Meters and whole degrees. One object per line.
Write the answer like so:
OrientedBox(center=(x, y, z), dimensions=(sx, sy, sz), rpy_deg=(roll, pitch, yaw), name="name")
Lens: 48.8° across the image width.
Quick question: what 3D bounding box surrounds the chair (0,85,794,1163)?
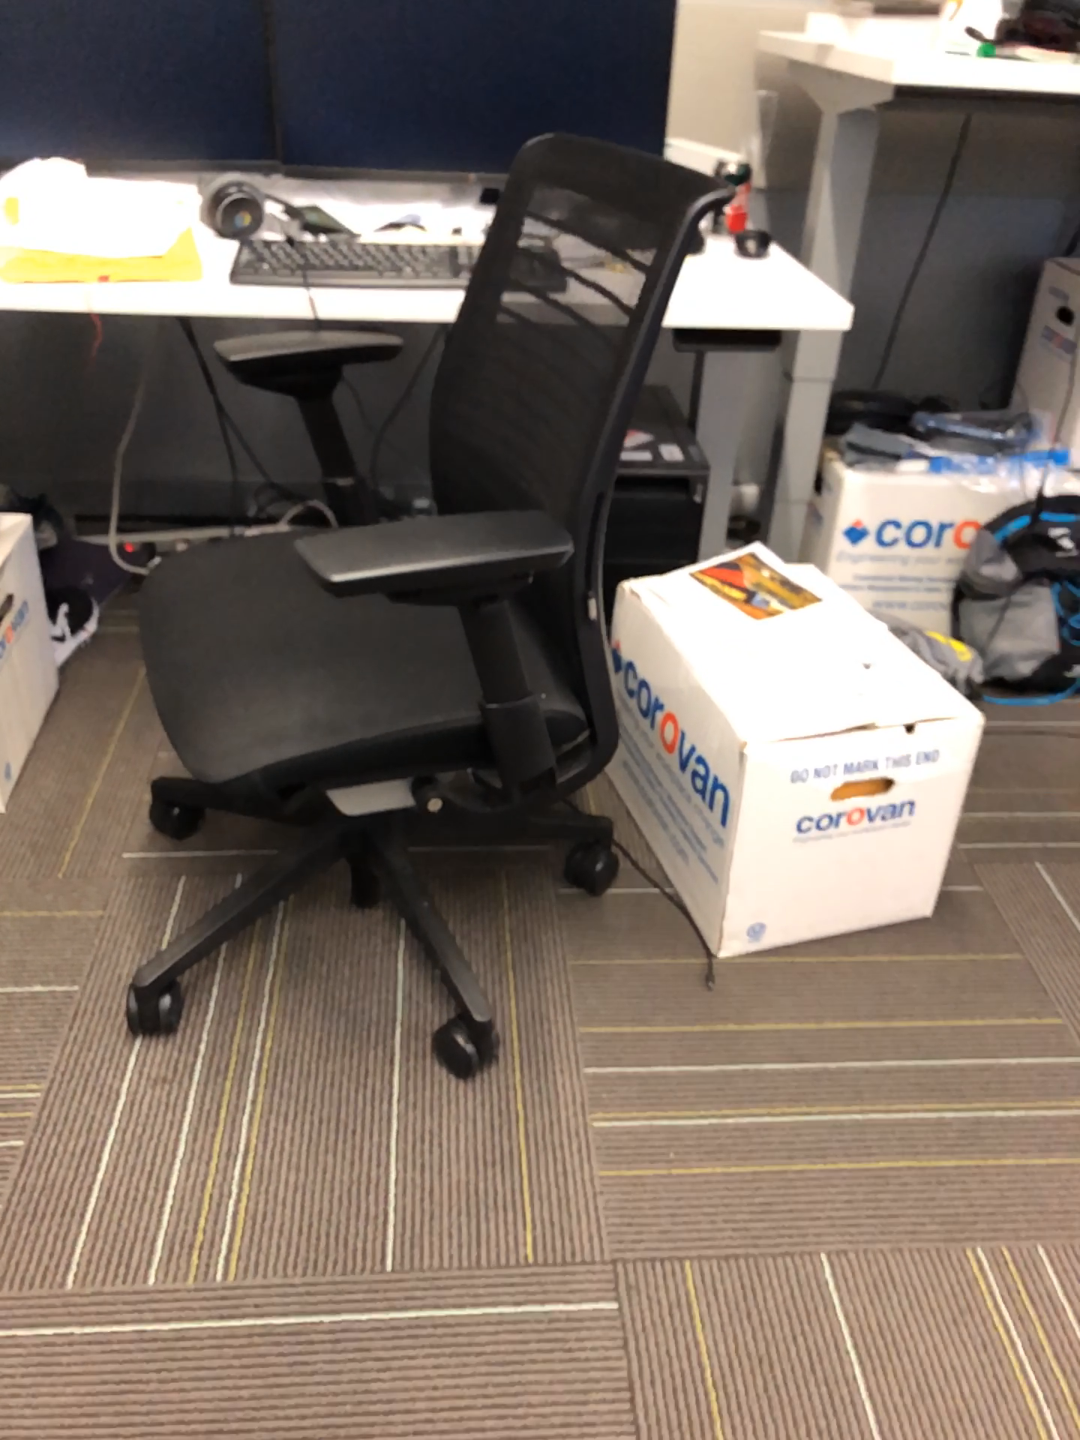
OrientedBox(center=(-0.228, -0.163, 1.358), dimensions=(0.611, 0.935, 0.673), rpy_deg=(-11, 34, -22), name="chair")
